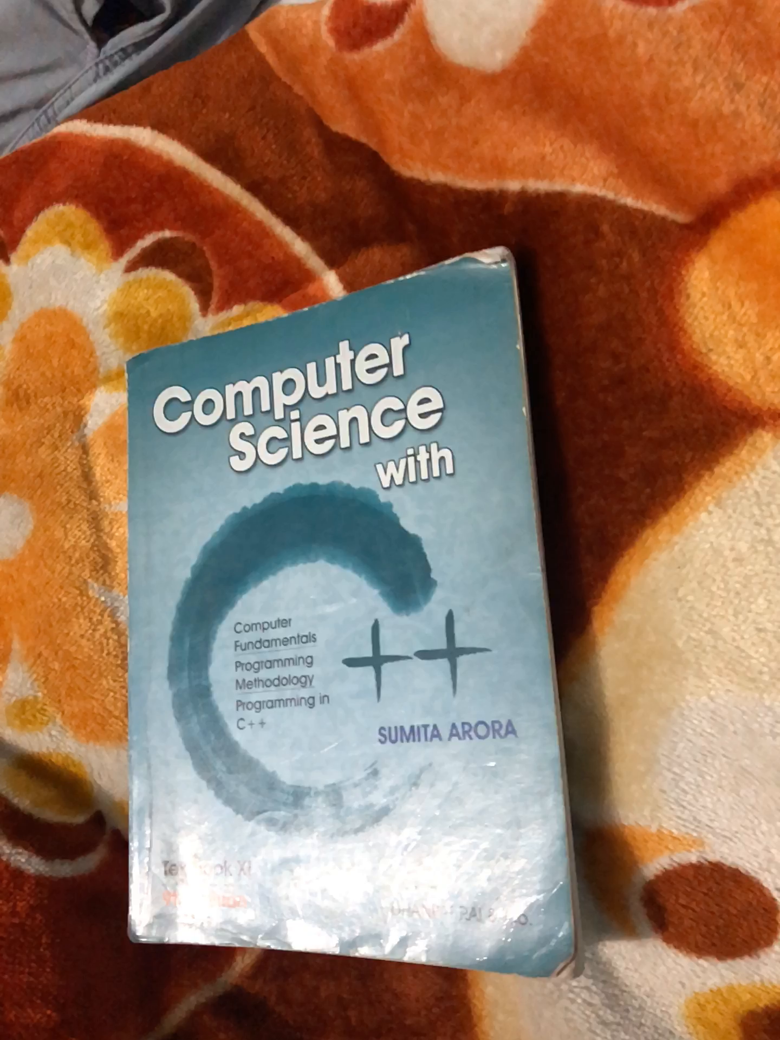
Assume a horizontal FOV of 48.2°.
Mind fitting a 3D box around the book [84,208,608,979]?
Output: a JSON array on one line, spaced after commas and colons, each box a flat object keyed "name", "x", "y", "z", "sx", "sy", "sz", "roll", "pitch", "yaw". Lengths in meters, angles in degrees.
[{"name": "book", "x": -0.033, "y": 0.032, "z": 0.365, "sx": 0.210, "sy": 0.040, "sz": 0.270, "roll": -9, "pitch": 78, "yaw": 24}]
